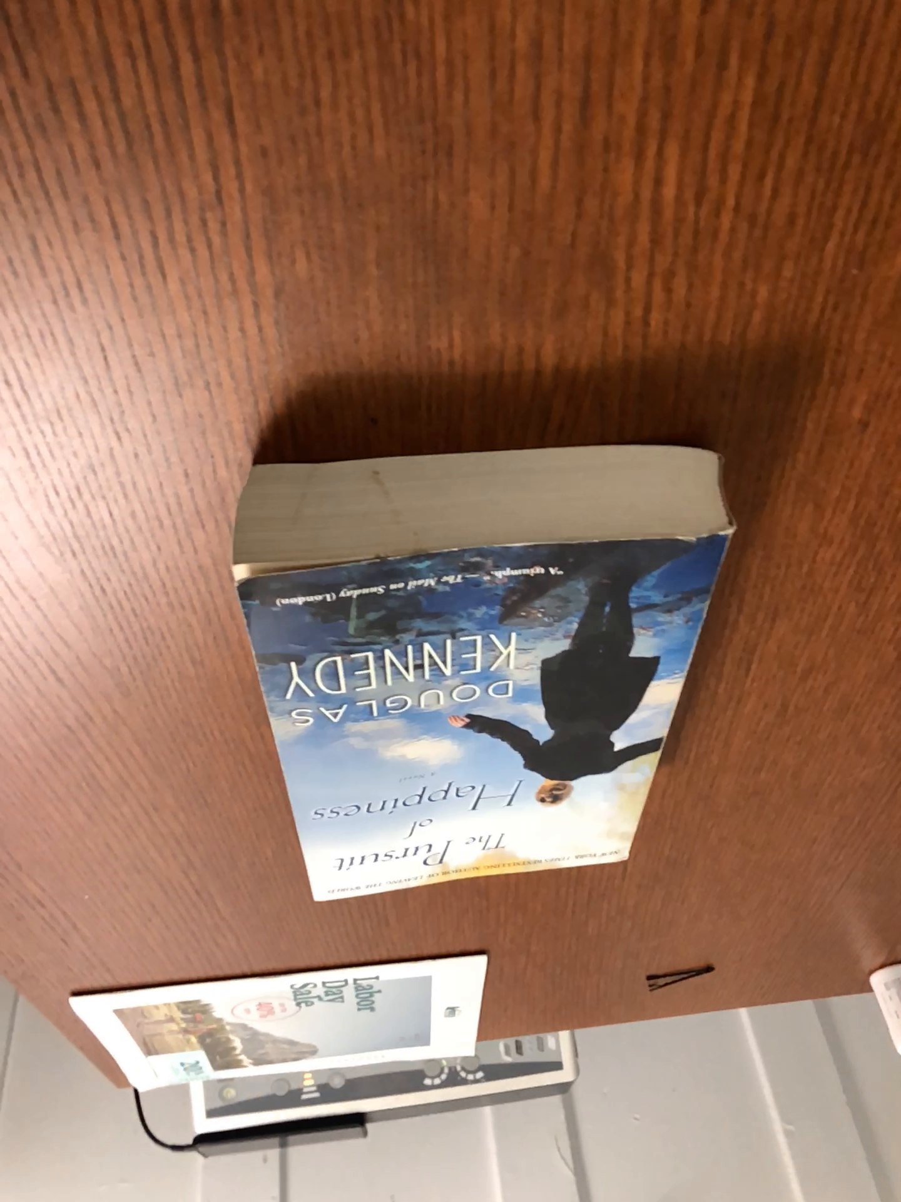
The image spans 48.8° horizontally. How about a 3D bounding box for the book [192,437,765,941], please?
[{"bbox_3d":[0.006,0.052,0.383,0.160,0.050,0.241,-4,140,-5],"label":"book"}]
